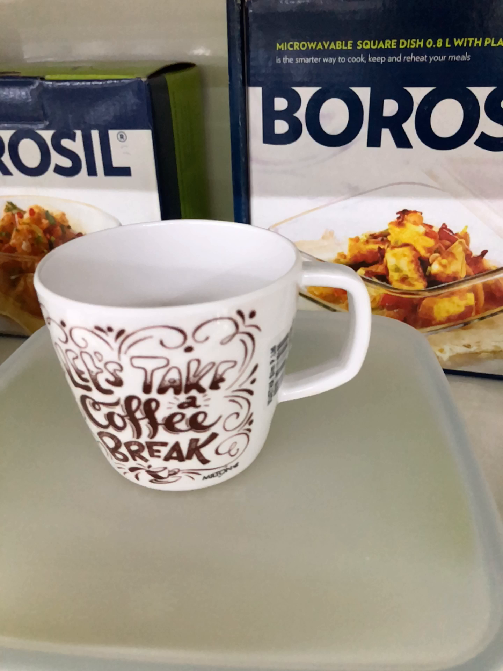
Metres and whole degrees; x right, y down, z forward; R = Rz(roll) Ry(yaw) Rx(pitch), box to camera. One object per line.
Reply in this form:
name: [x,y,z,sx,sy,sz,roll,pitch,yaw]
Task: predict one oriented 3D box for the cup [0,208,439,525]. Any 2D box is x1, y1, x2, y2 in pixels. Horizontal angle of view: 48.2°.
cup: [-0.007,0.005,0.175,0.100,0.070,0.070,-1,27,-1]
